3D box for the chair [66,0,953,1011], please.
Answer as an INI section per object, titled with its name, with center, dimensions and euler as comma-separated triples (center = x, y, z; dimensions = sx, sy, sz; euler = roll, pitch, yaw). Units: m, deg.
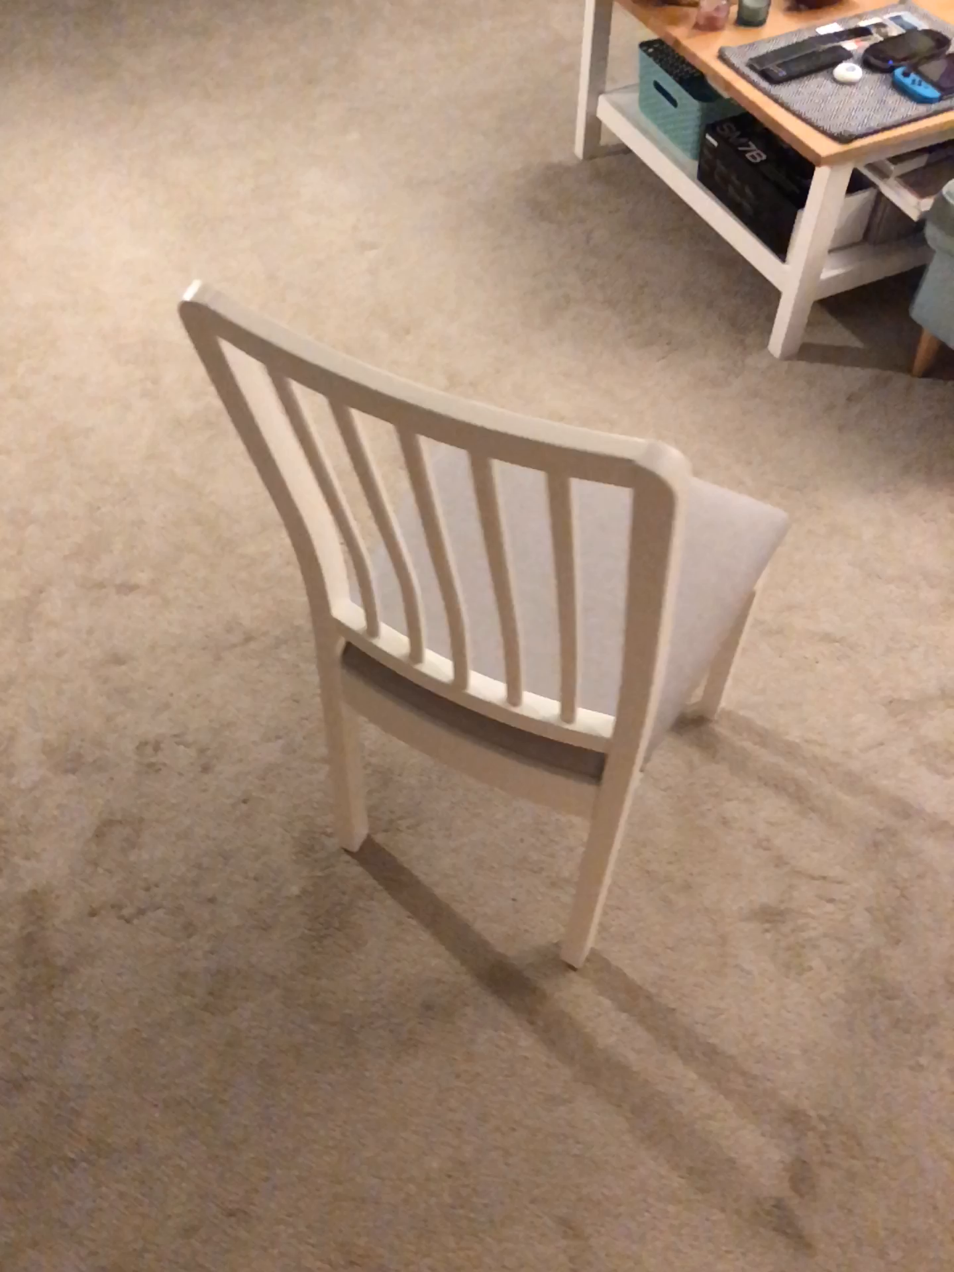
[chair]
center = 0.066, -0.091, 1.167
dimensions = 0.500, 0.906, 0.552
euler = 25, 57, 18
